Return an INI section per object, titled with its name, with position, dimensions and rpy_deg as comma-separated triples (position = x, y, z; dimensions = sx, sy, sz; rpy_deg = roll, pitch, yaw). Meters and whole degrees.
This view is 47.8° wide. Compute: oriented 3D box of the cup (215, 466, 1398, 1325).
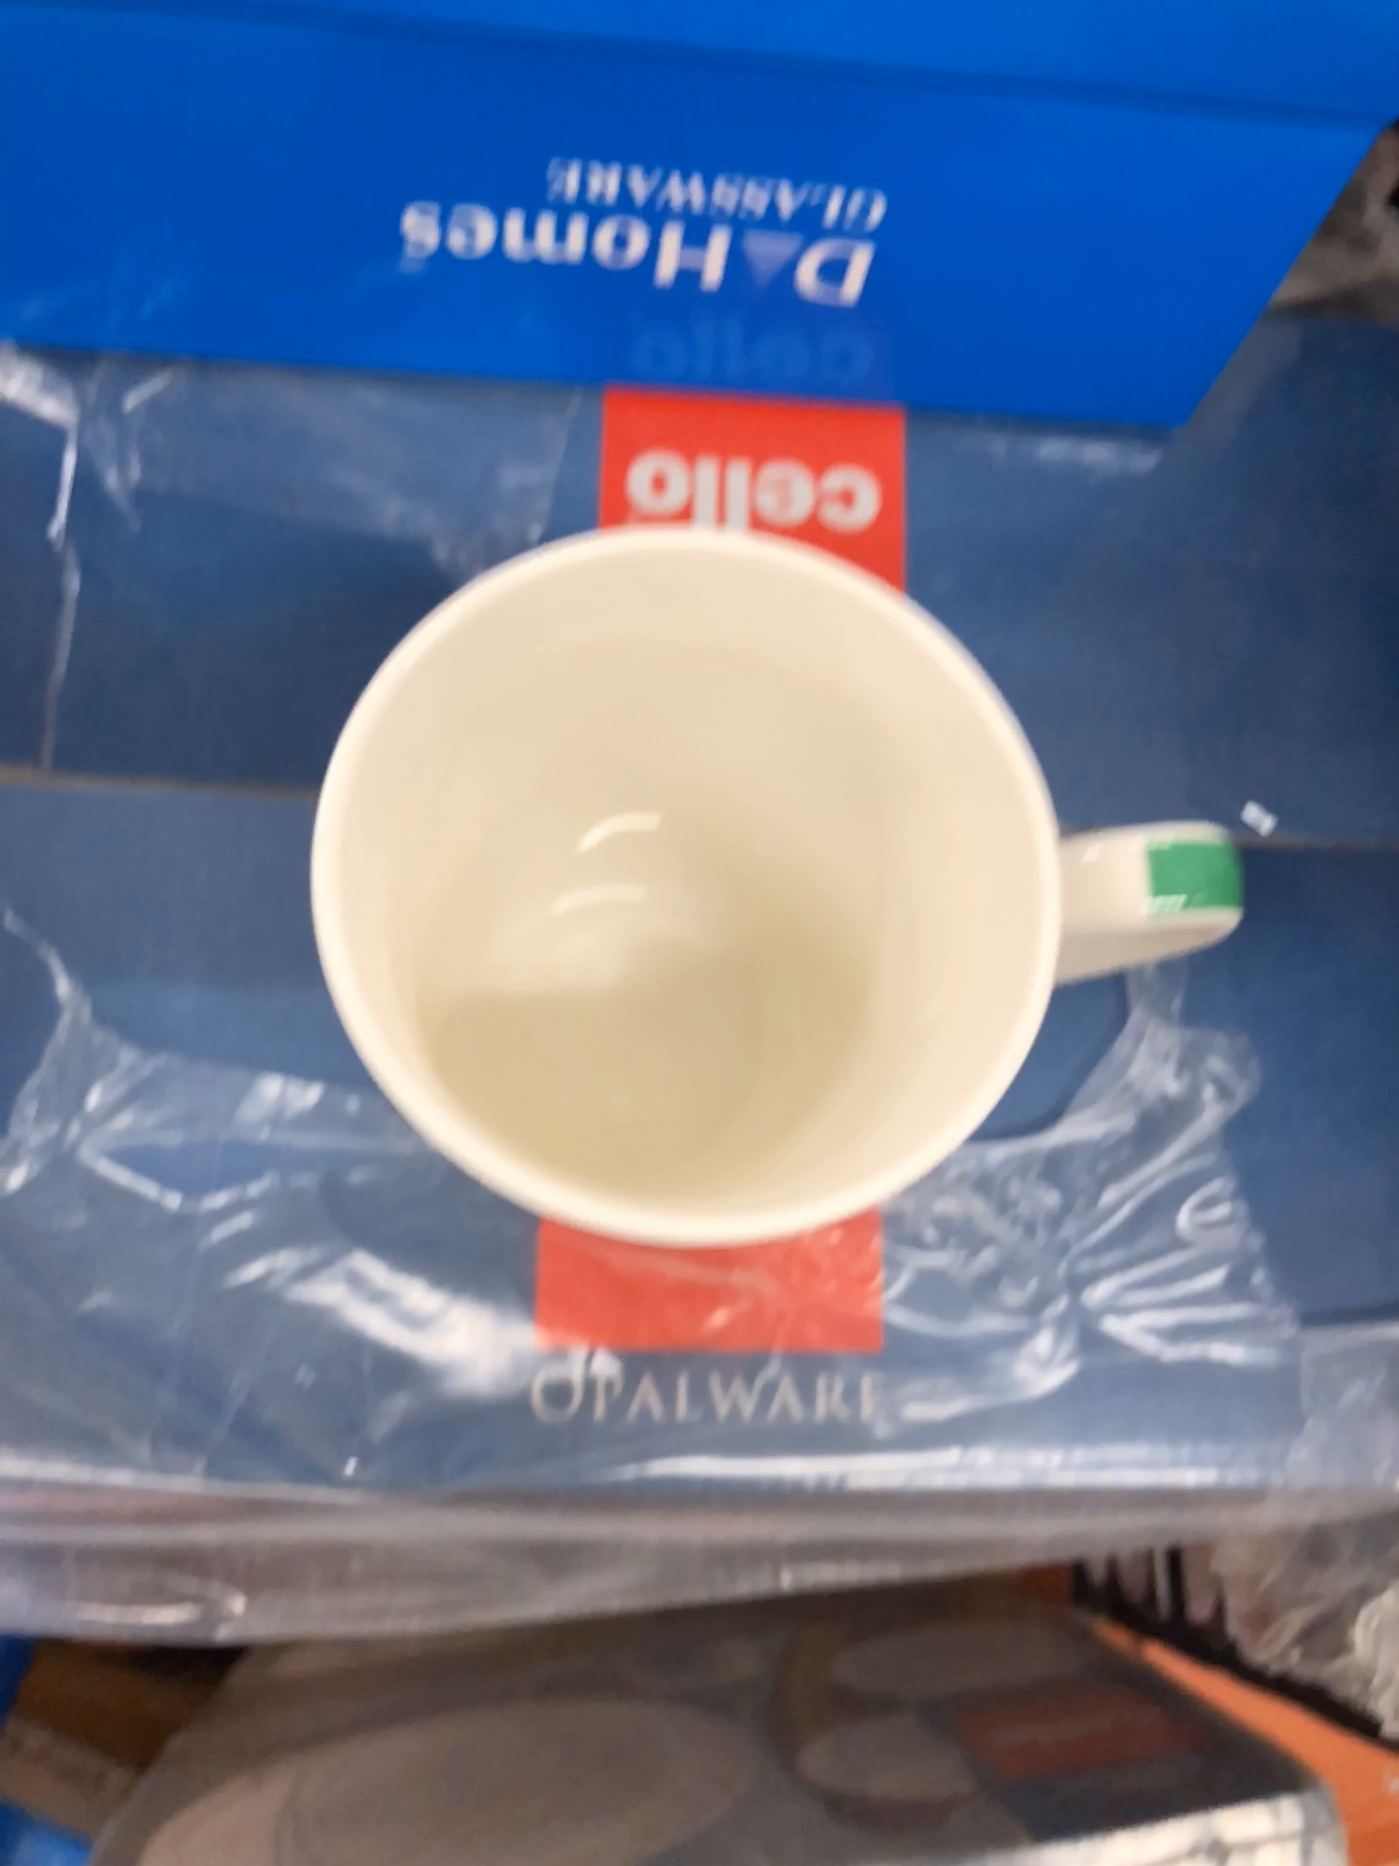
[cup]
position = 0.007, 0.002, 0.224
dimensions = 0.120, 0.100, 0.080
rpy_deg = -10, 78, -10
